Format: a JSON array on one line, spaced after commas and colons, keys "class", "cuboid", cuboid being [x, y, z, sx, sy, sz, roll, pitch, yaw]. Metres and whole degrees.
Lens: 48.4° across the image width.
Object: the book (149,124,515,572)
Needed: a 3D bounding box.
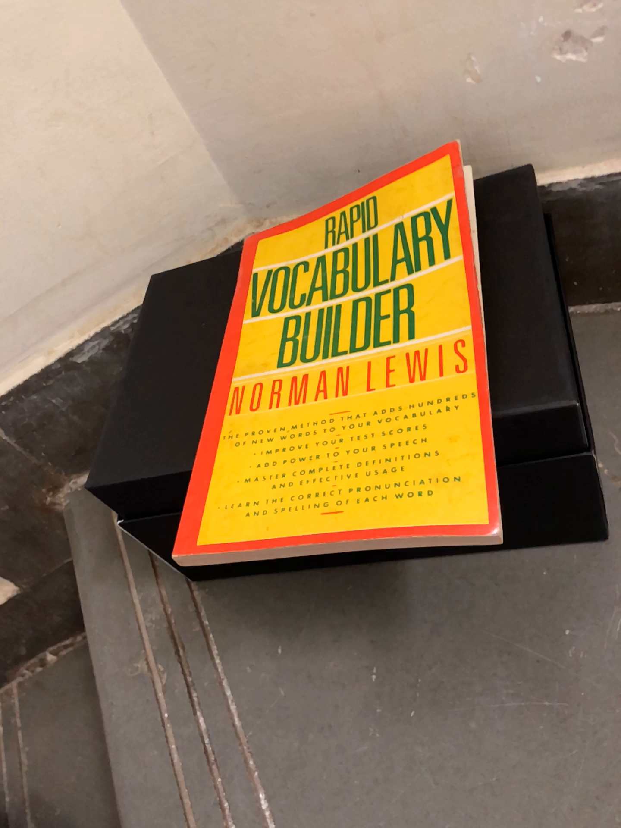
[{"class": "book", "cuboid": [0.018, -0.041, 0.333, 0.140, 0.030, 0.231, -9, 50, 23]}]
